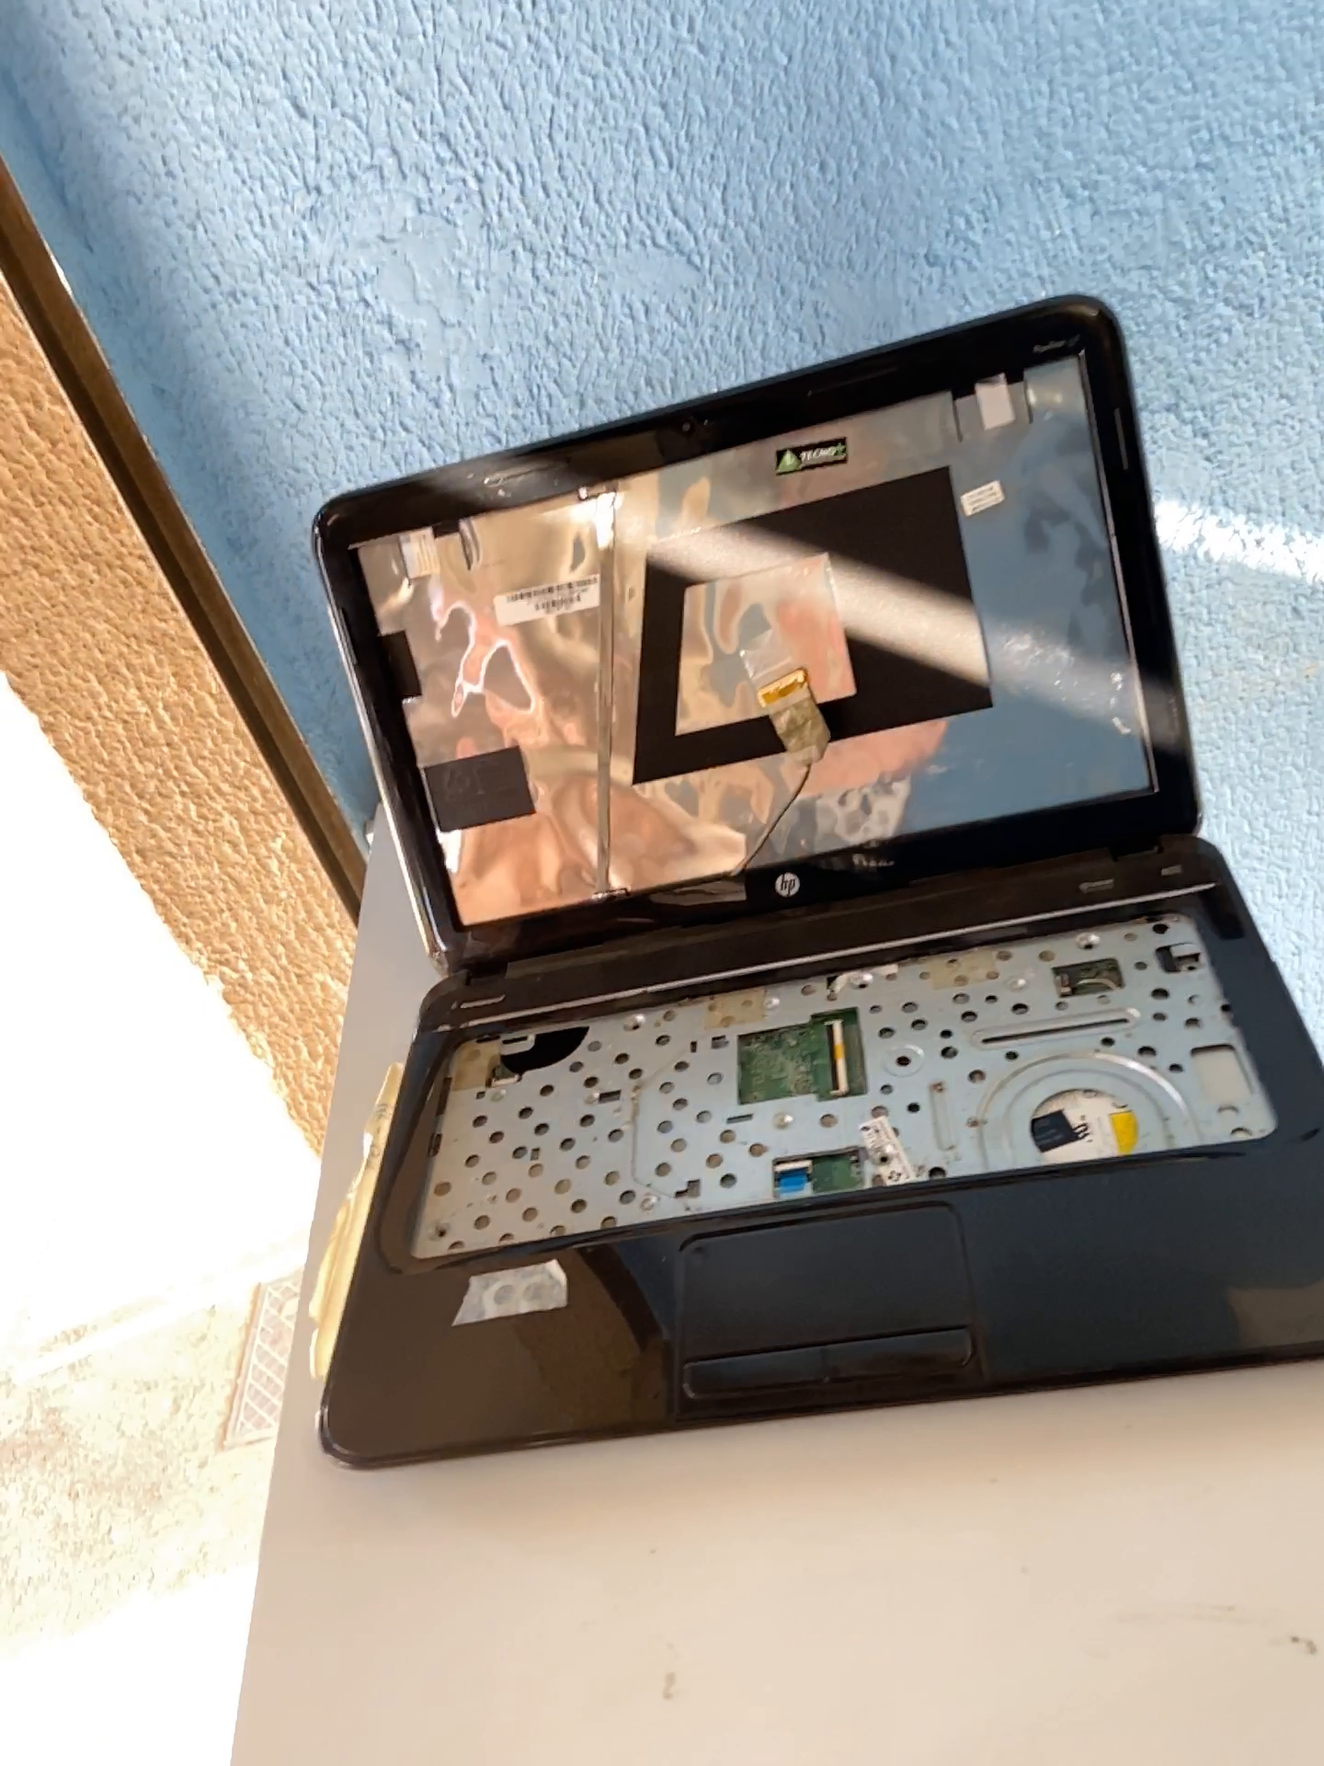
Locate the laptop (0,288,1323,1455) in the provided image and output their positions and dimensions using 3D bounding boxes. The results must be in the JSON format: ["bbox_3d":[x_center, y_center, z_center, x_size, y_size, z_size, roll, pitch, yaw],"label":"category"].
[{"bbox_3d":[0.029,-0.023,0.481,0.335,0.186,0.326,-12,36,12],"label":"laptop"}]
